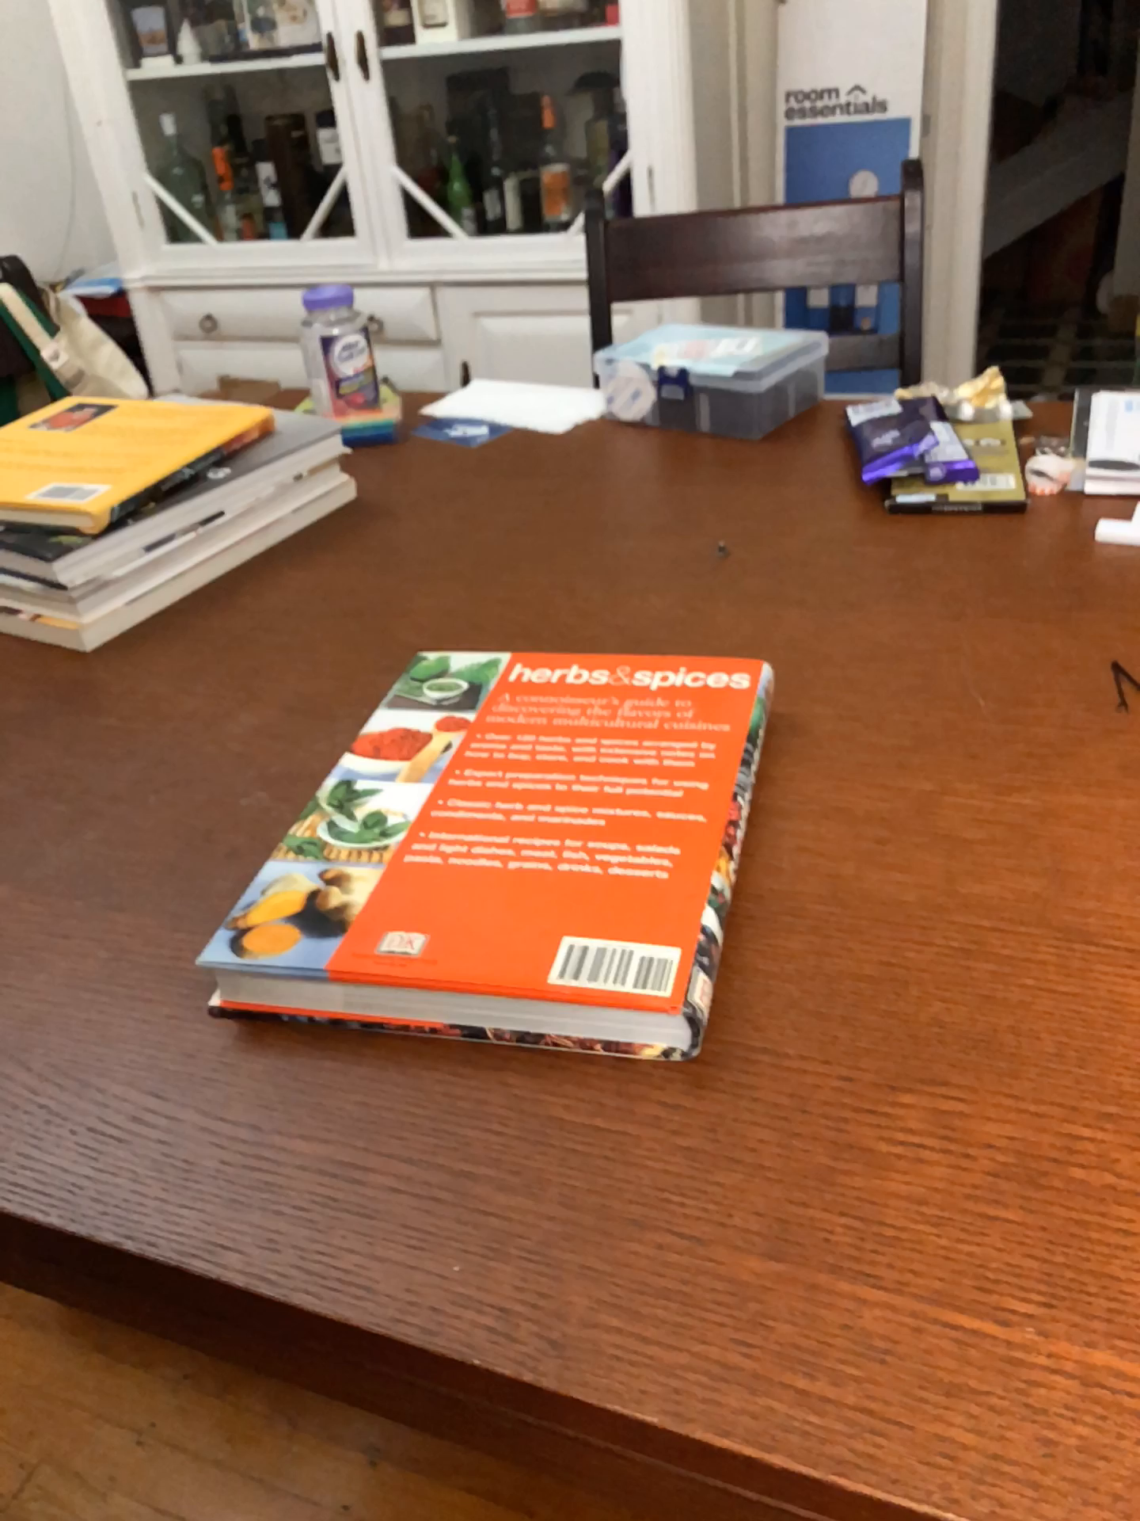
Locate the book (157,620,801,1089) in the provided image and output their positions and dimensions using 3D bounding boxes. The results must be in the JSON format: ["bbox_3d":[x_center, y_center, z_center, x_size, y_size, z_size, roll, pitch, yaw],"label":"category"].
[{"bbox_3d":[-0.017,0.018,0.561,0.210,0.040,0.272,3,33,15],"label":"book"}]
